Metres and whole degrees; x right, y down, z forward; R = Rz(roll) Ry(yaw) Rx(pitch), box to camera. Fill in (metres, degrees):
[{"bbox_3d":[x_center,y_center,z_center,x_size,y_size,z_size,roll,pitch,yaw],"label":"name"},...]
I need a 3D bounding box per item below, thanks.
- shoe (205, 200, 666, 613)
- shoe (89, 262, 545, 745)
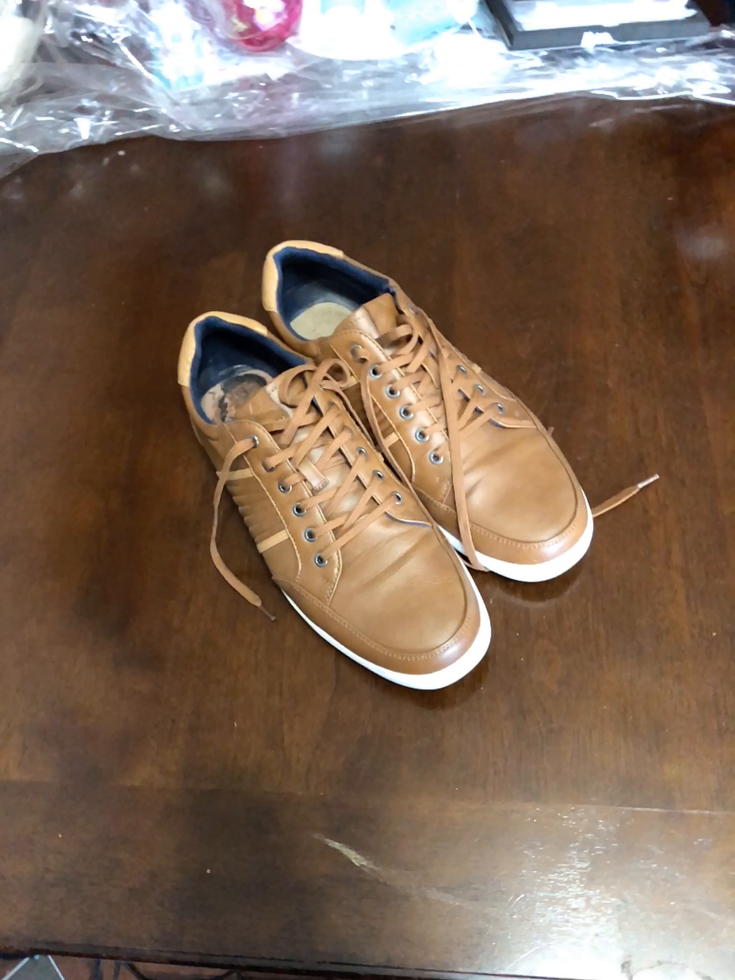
[{"bbox_3d":[0.033,-0.066,0.536,0.110,0.080,0.291,-41,62,-15],"label":"shoe"},{"bbox_3d":[-0.039,-0.006,0.492,0.110,0.080,0.291,-37,61,-12],"label":"shoe"}]
